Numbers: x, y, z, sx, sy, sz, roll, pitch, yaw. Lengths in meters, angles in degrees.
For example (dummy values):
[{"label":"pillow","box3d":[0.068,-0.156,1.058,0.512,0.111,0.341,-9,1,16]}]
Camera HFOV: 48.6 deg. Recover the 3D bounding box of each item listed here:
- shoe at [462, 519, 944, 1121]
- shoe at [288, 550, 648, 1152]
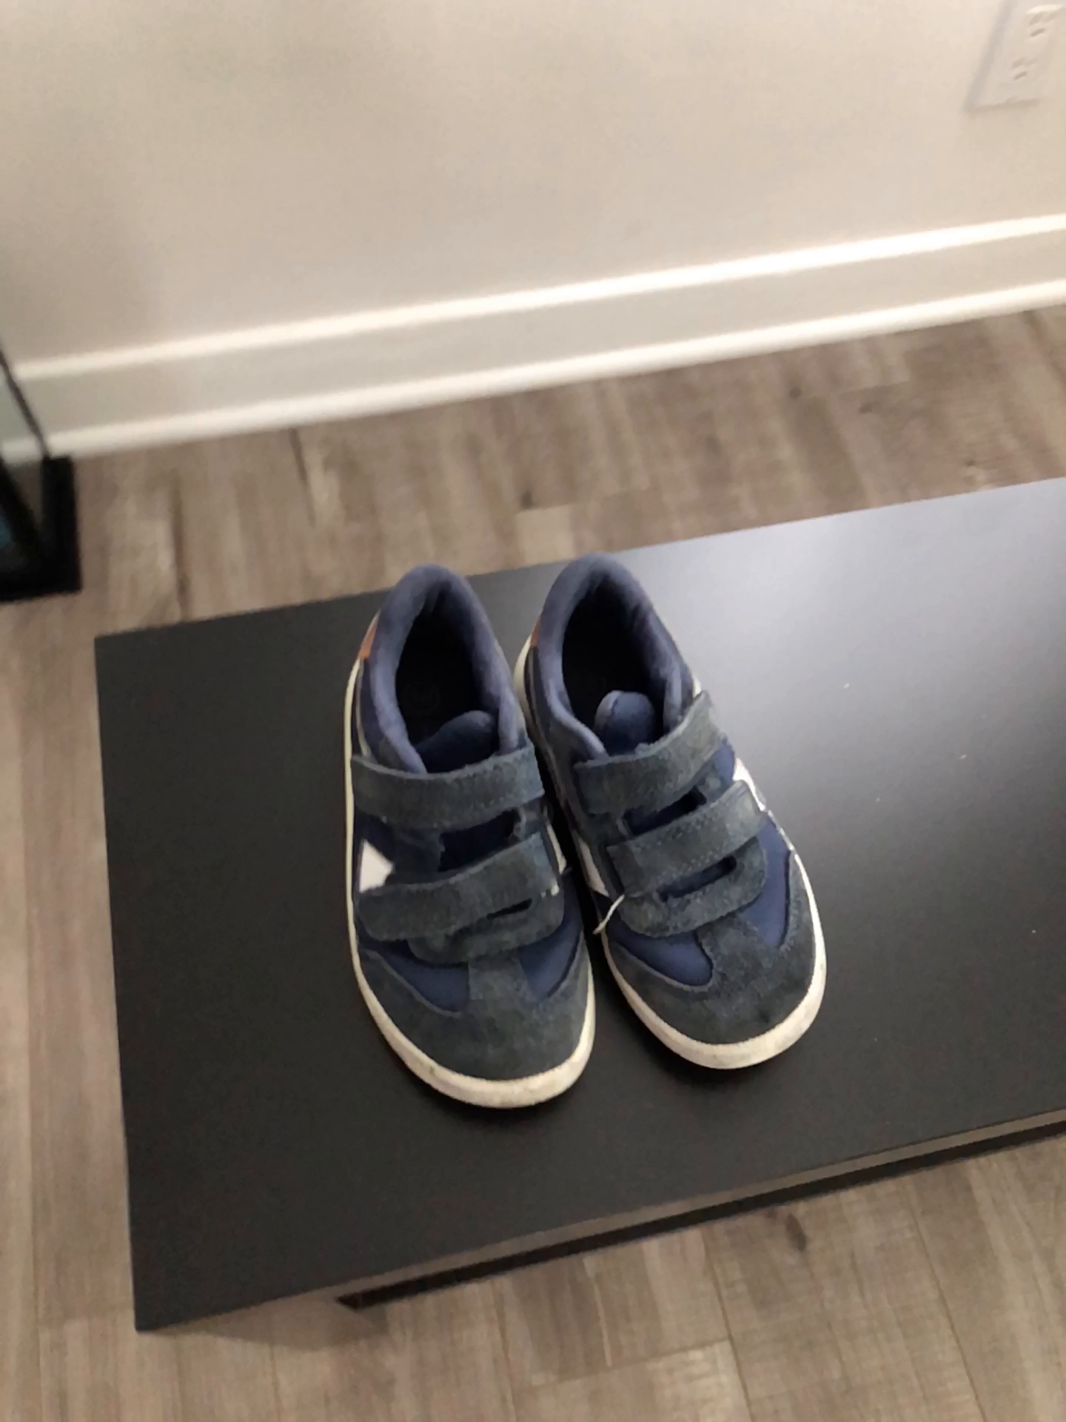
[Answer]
[{"label":"shoe","box3d":[0.049,0.034,0.422,0.088,0.068,0.185,-19,64,-12]},{"label":"shoe","box3d":[-0.028,0.044,0.413,0.082,0.068,0.185,-10,63,-8]}]
